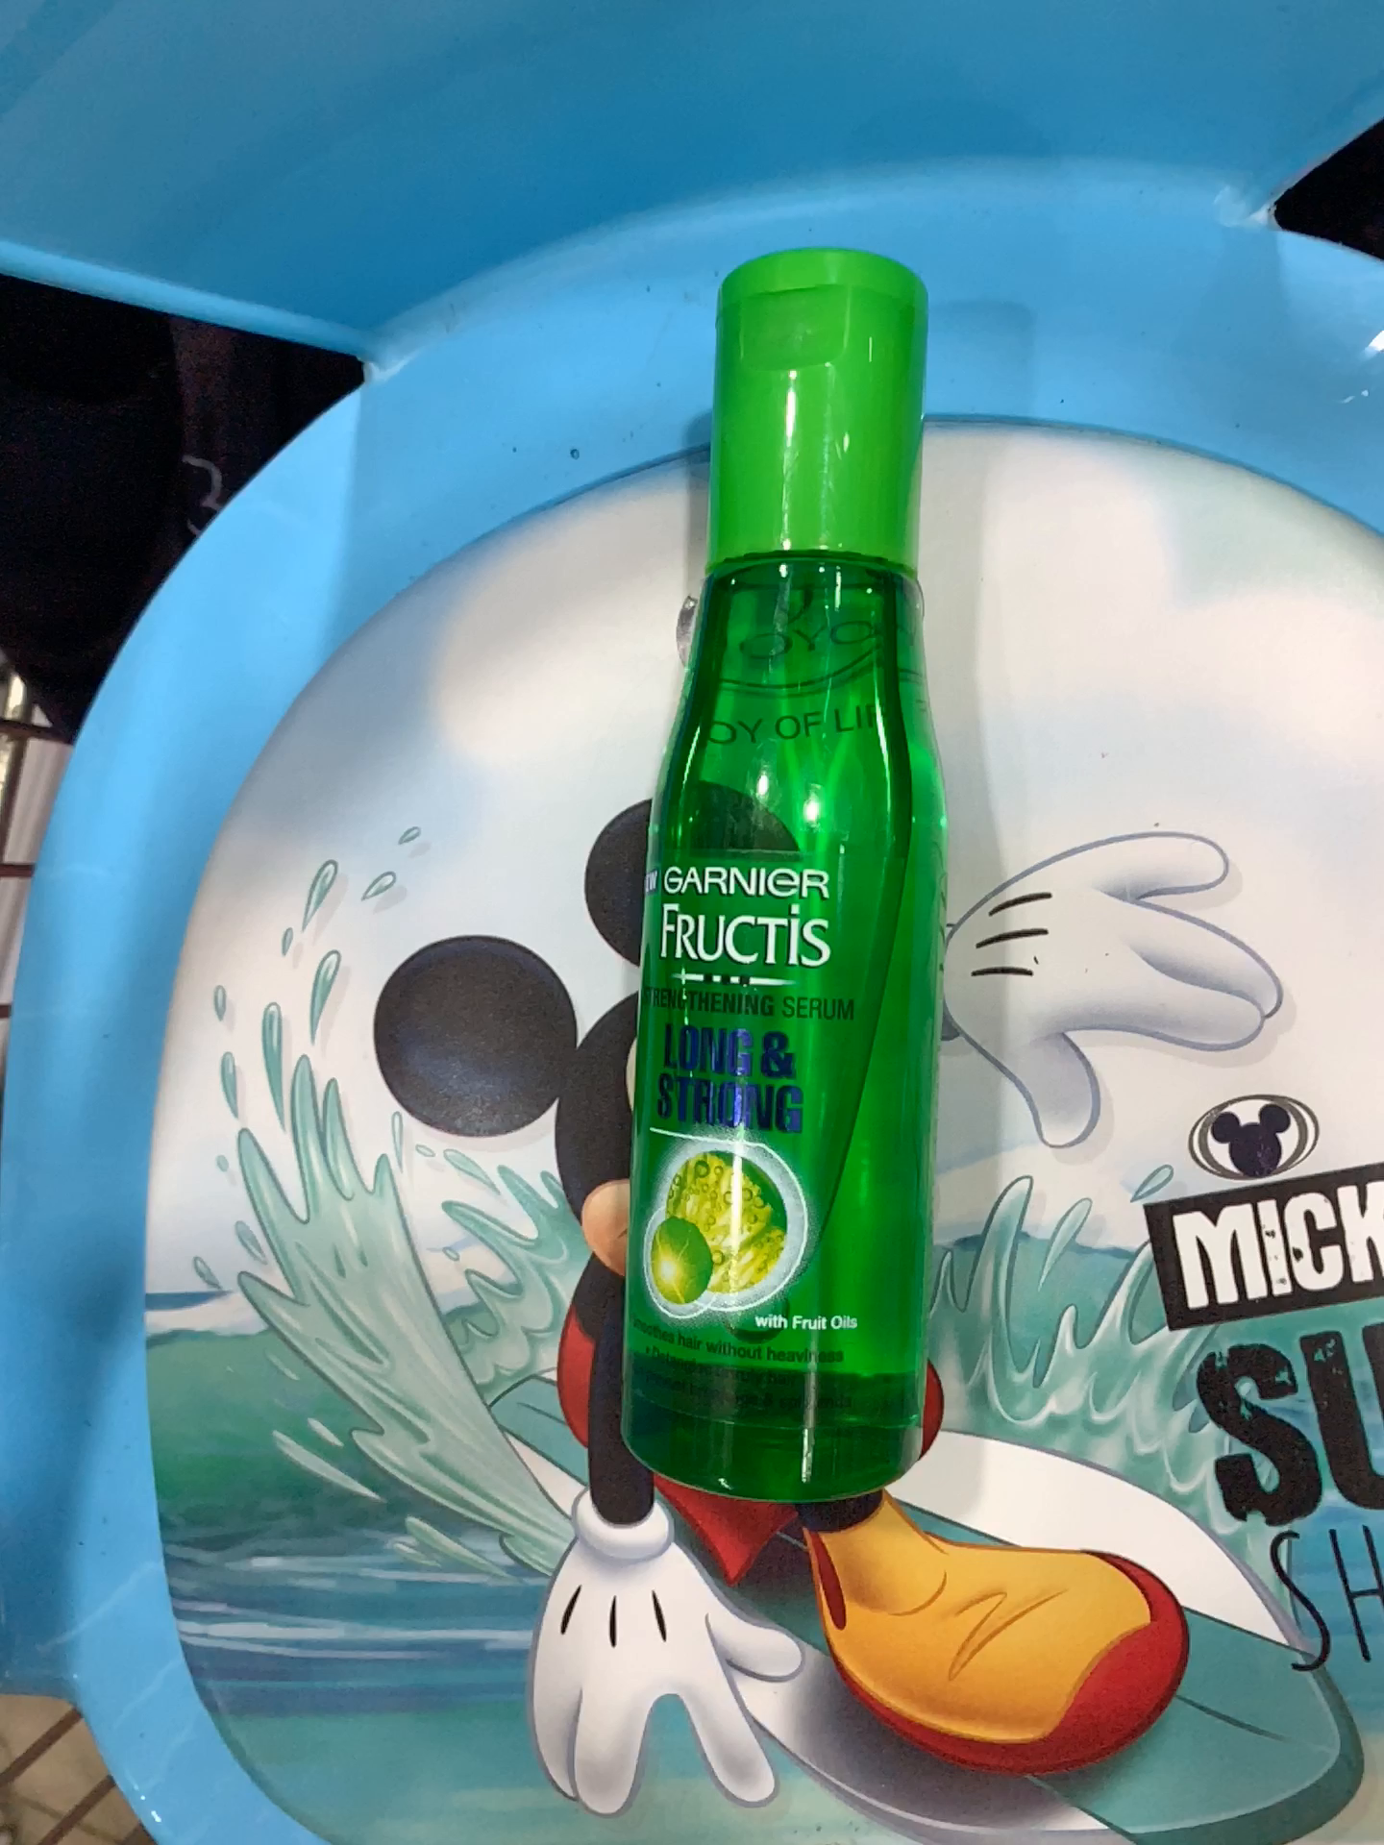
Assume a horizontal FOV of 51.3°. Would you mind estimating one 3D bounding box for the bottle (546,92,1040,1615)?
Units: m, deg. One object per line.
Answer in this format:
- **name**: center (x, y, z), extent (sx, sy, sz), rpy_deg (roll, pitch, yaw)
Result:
- **bottle**: center (0.014, -0.008, 0.179), extent (0.040, 0.040, 0.160), rpy_deg (1, 87, 36)
